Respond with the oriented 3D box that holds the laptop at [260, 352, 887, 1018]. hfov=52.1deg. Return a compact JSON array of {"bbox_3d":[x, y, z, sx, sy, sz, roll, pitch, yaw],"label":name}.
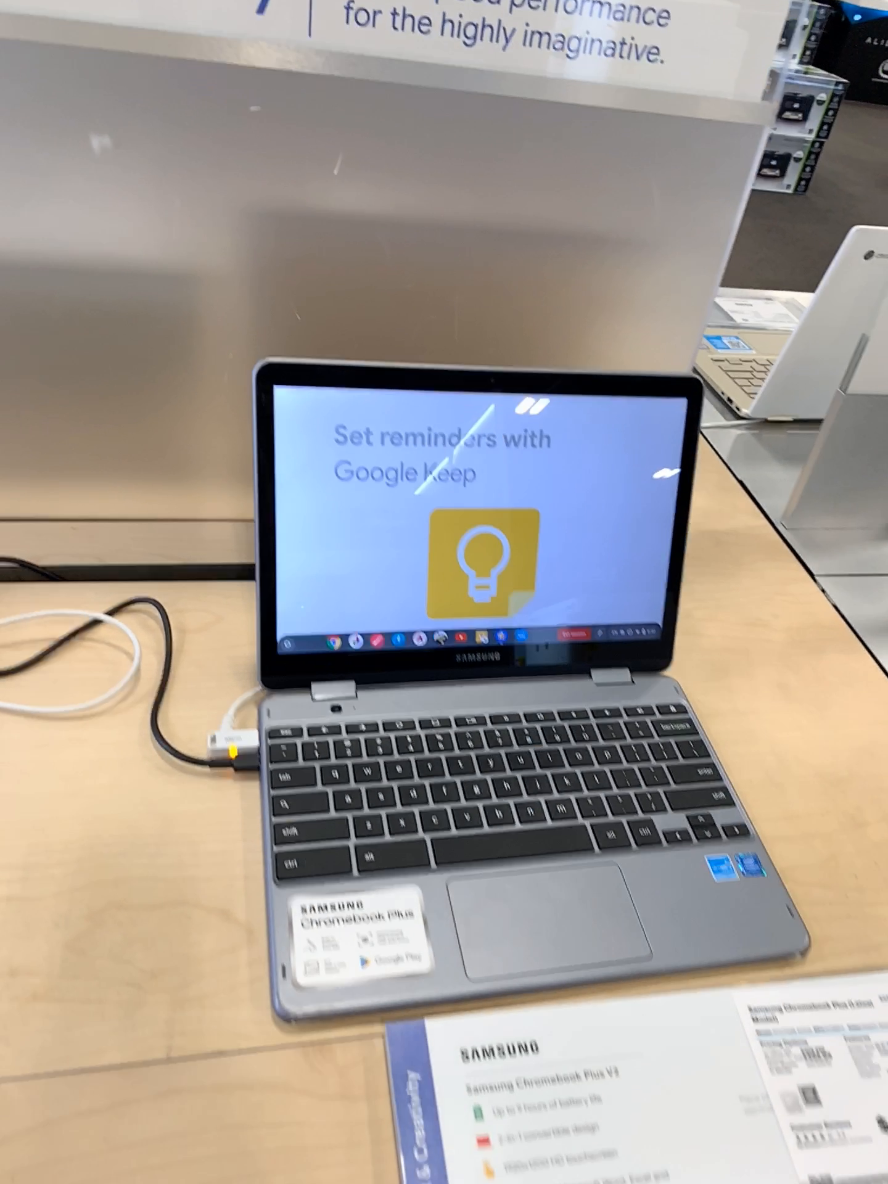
[{"bbox_3d":[0.045,0.025,0.500,0.273,0.181,0.289,-2,42,-13],"label":"laptop"}]
